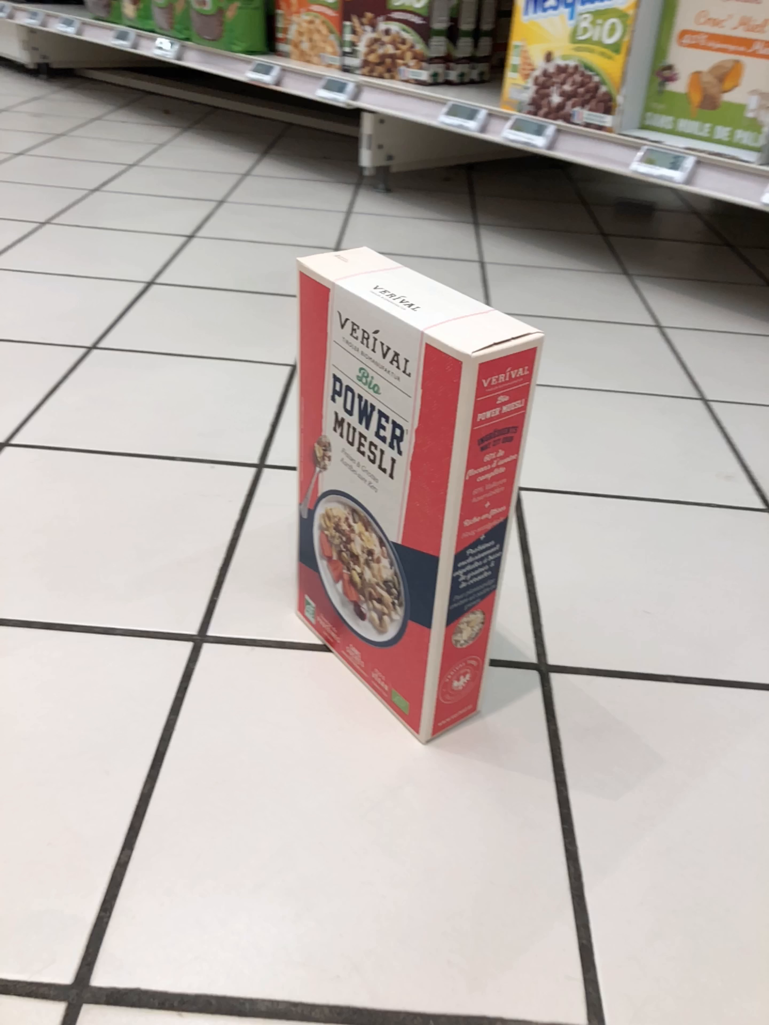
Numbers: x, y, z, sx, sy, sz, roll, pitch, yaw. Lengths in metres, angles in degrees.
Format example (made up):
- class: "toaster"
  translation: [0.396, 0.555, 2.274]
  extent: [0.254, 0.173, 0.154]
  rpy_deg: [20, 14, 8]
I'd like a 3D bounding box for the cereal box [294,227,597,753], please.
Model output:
- class: "cereal box"
  translation: [0.014, -0.012, 0.425]
  extent: [0.050, 0.219, 0.140]
  rpy_deg: [-18, 39, -32]
